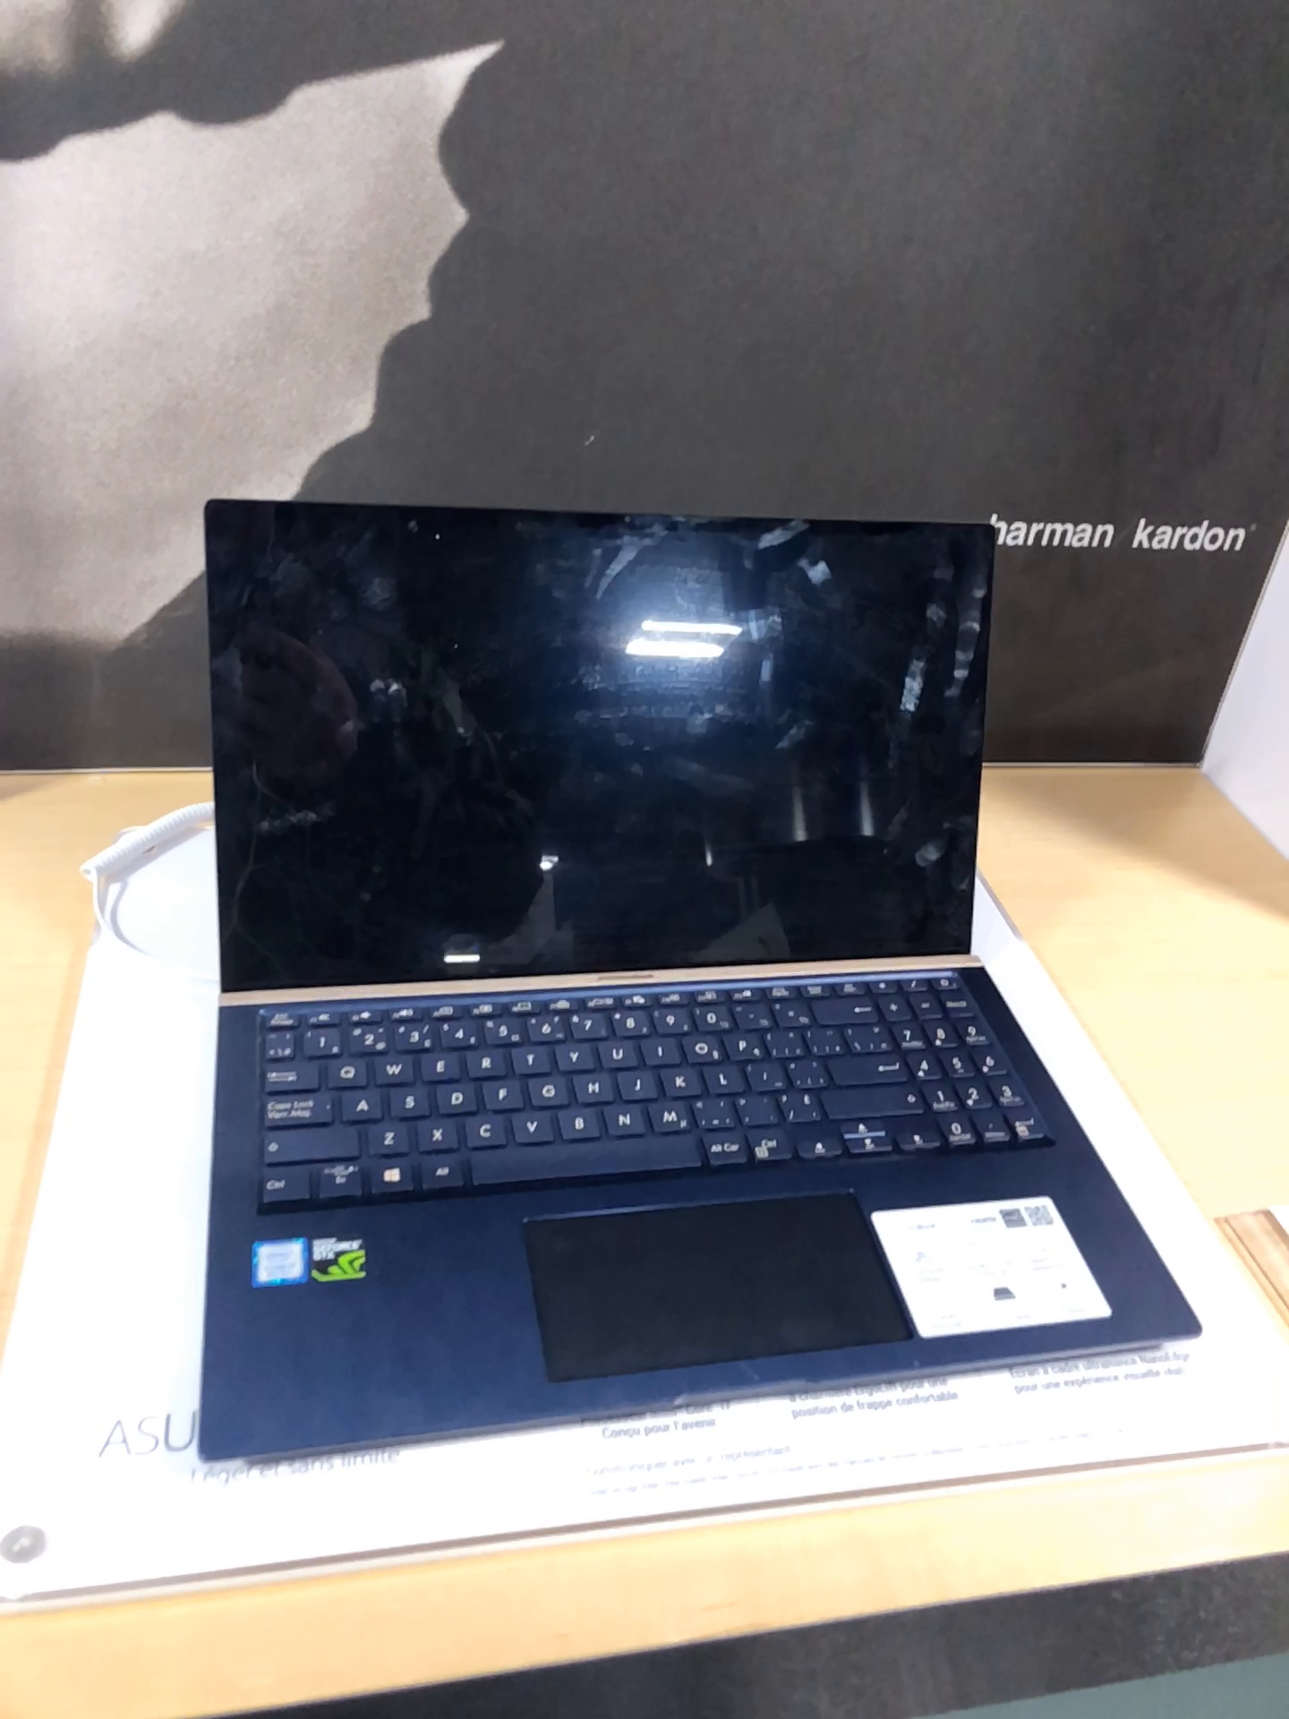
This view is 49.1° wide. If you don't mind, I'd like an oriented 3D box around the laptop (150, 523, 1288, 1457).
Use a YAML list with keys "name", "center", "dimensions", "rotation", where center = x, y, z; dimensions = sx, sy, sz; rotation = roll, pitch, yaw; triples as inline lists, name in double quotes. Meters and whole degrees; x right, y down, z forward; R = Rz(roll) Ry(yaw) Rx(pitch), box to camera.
- name: "laptop"
  center: [0.013, 0.015, 0.520]
  dimensions: [0.331, 0.173, 0.293]
  rotation: [-2, 35, -12]
